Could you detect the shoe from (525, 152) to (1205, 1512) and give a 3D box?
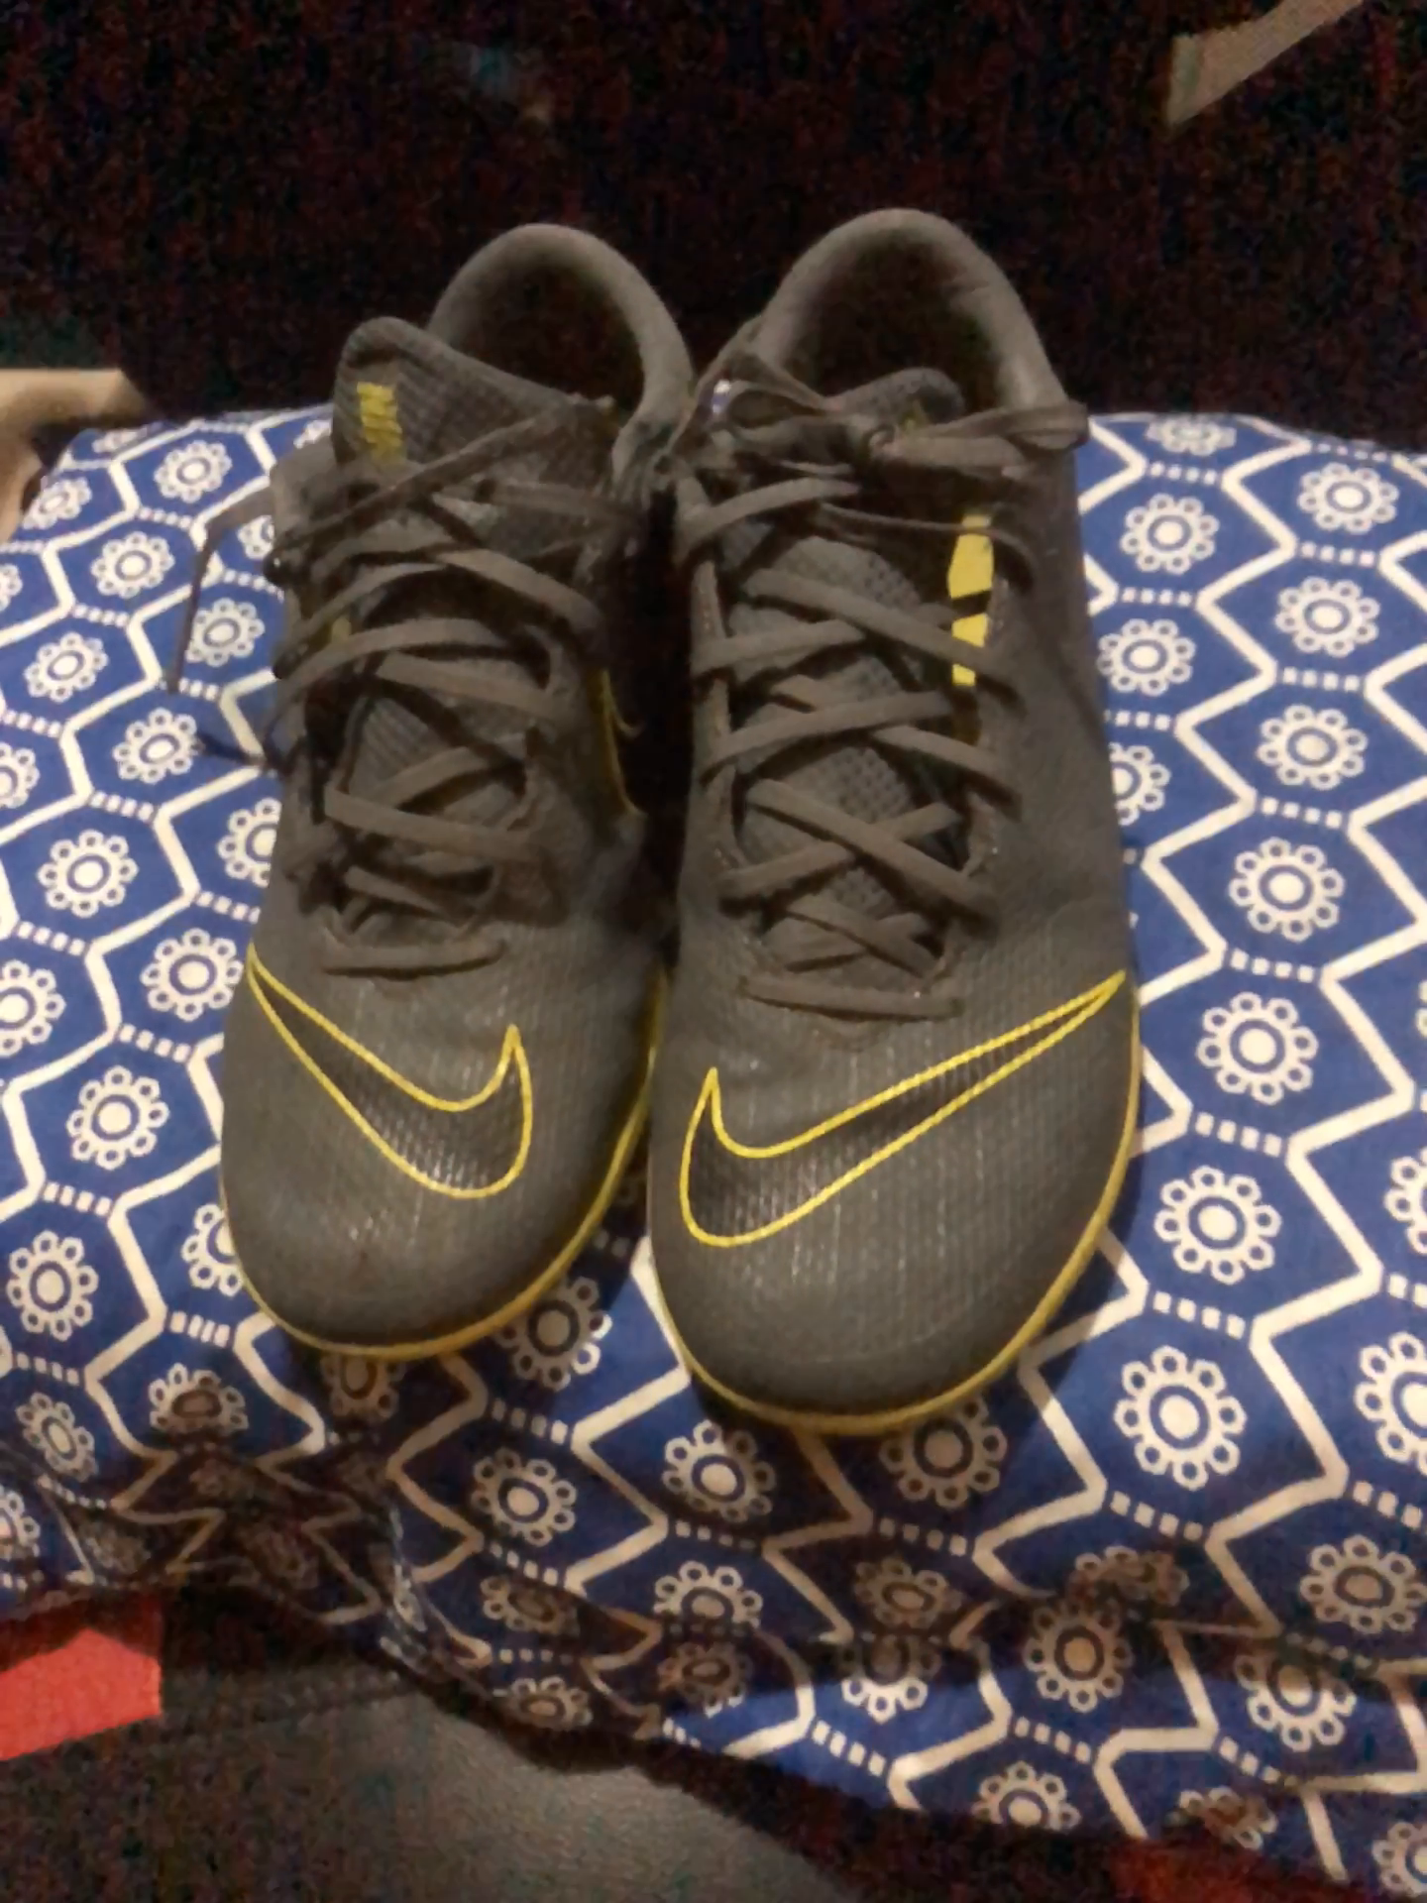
[{"bbox_3d":[0.040,-0.031,0.304,0.090,0.090,0.241,2,63,11],"label":"shoe"}]

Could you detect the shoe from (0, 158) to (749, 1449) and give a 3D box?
[{"bbox_3d":[-0.057,-0.037,0.319,0.090,0.090,0.241,2,63,11],"label":"shoe"}]
